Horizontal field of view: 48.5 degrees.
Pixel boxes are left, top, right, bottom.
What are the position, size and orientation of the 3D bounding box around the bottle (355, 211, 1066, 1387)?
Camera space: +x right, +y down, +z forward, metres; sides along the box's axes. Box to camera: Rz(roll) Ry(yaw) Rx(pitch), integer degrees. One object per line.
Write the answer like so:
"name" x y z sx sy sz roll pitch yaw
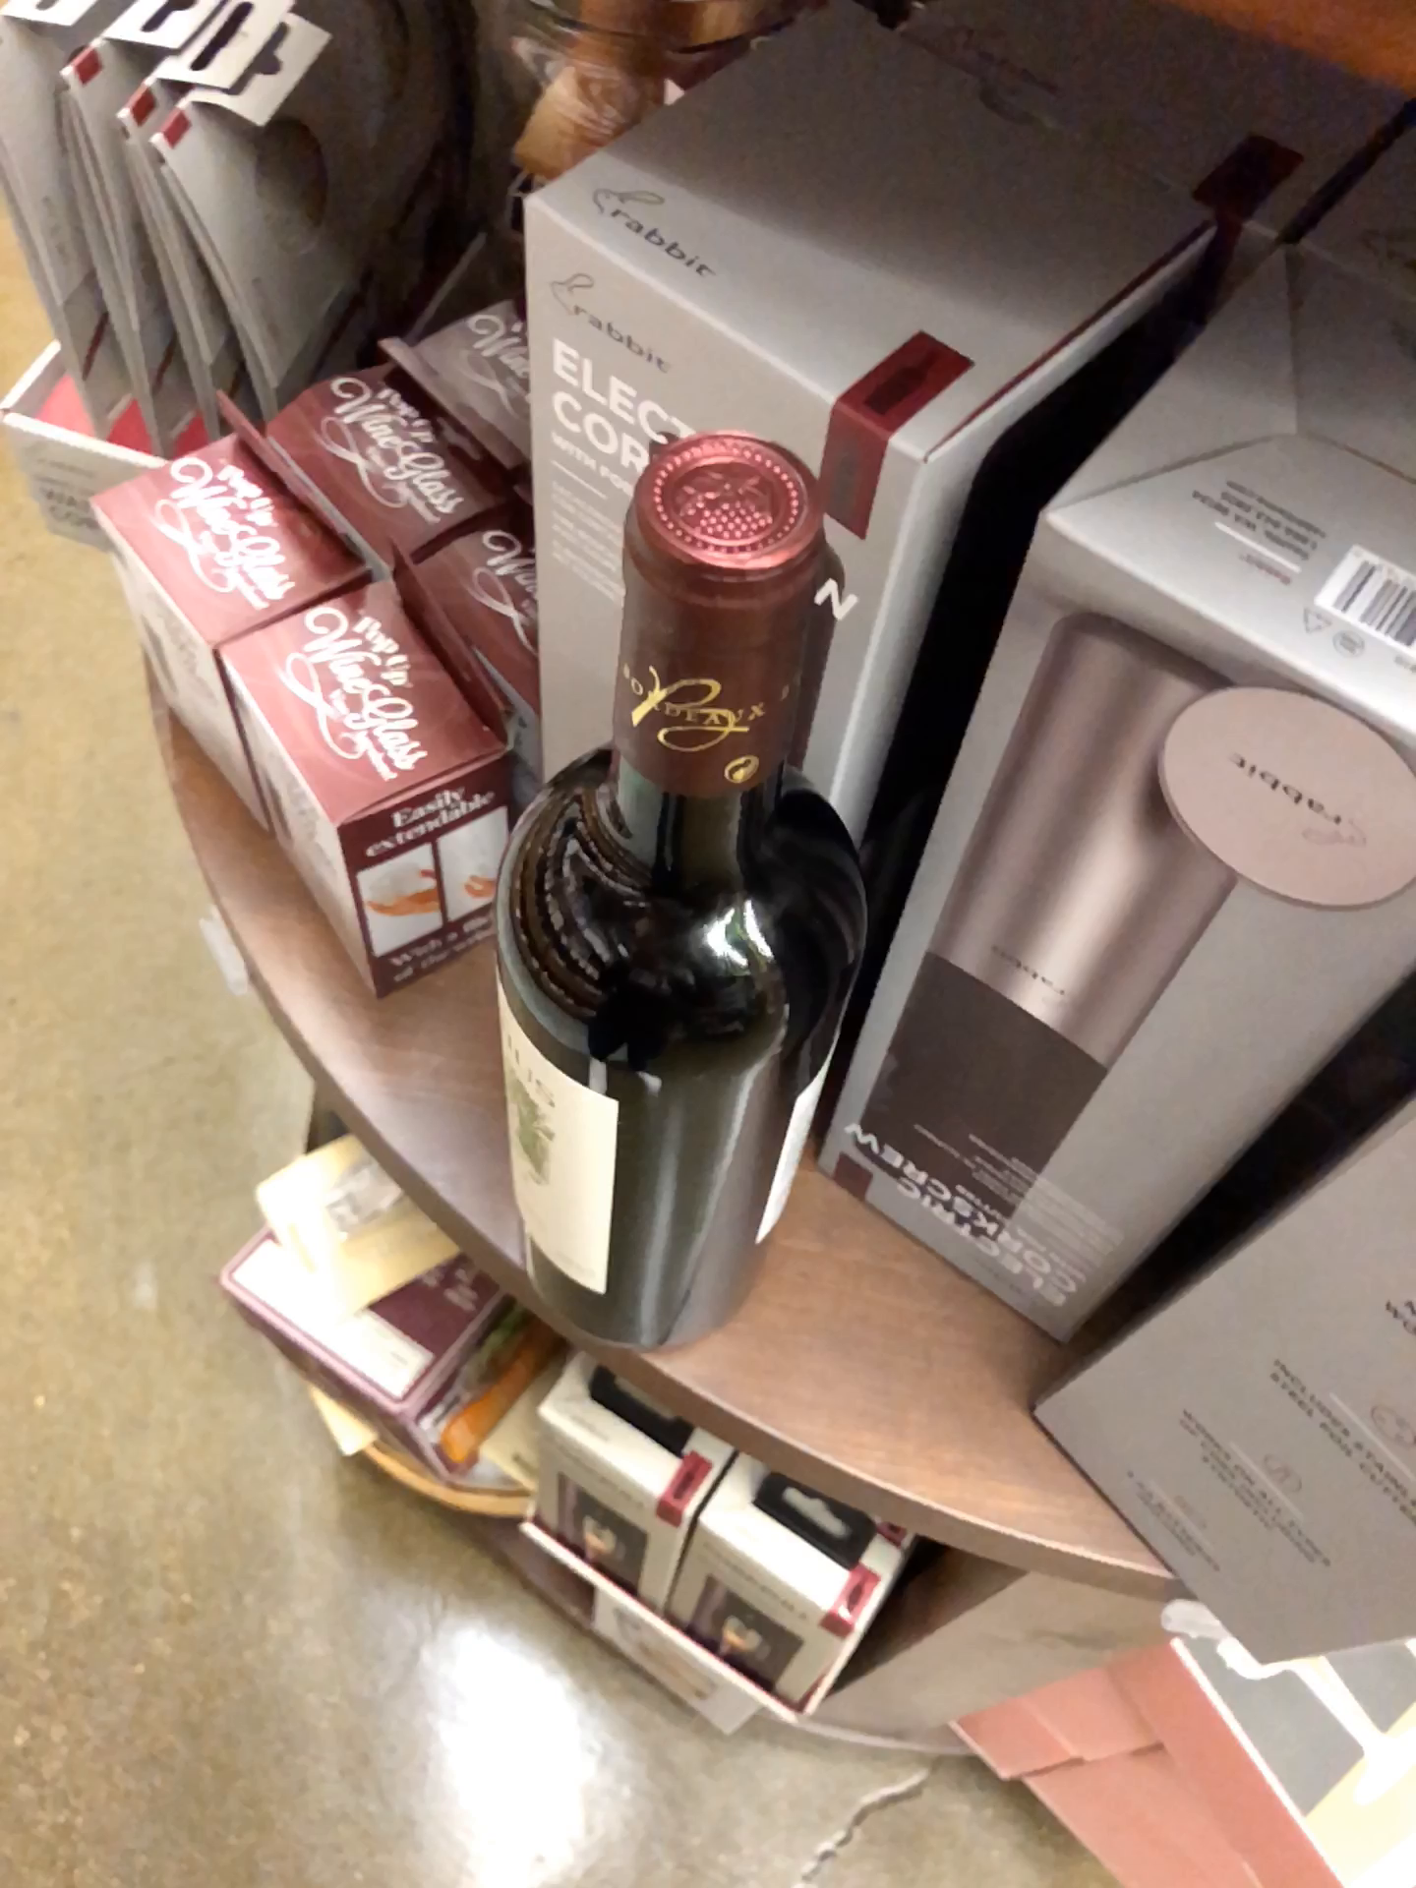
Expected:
"bottle" -0.010 0.008 0.336 0.080 0.300 0.080 1 59 -2
